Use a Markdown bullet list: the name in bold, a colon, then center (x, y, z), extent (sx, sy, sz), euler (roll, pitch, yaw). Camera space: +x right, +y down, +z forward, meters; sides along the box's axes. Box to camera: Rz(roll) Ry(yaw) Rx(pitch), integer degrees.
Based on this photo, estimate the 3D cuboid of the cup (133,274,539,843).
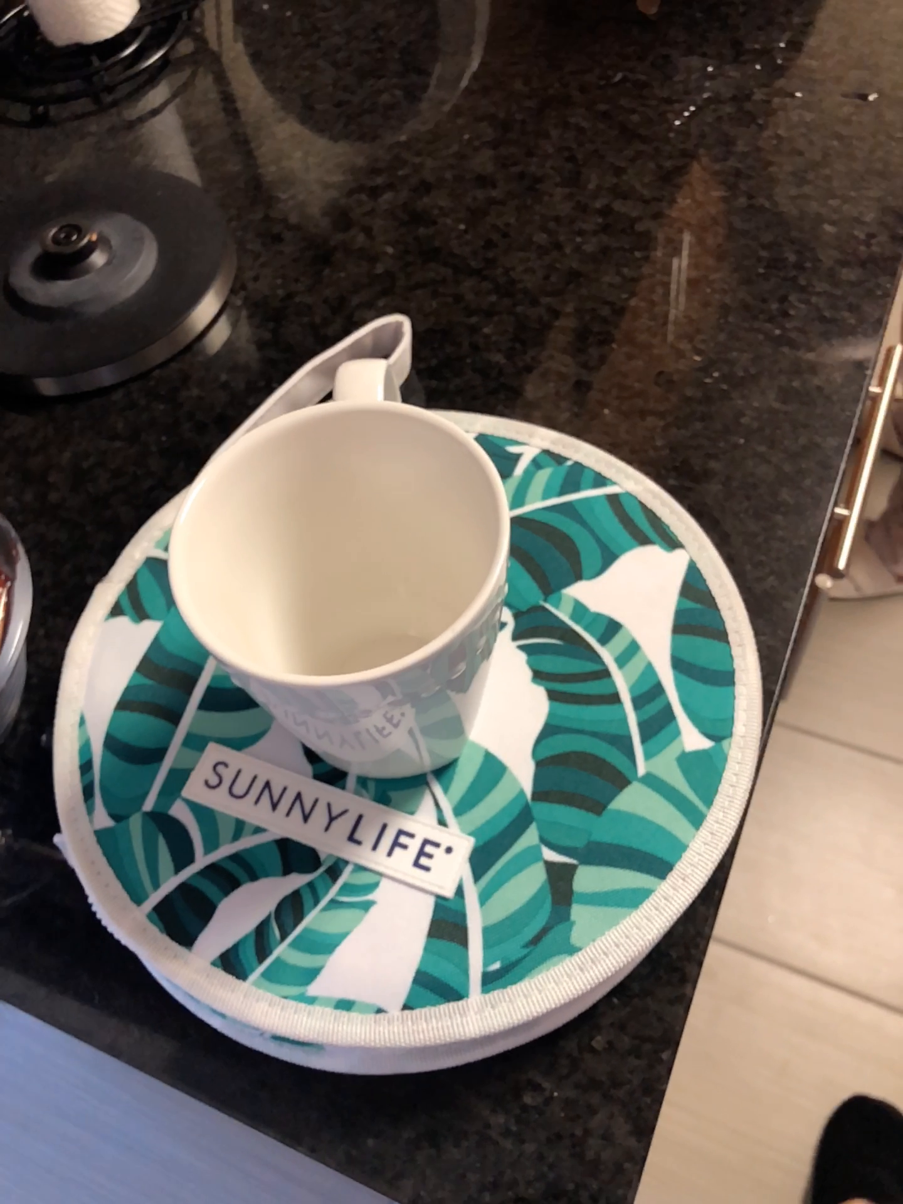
- **cup**: center (-0.030, -0.012, 0.302), extent (0.090, 0.090, 0.130), euler (-9, 58, 2)
